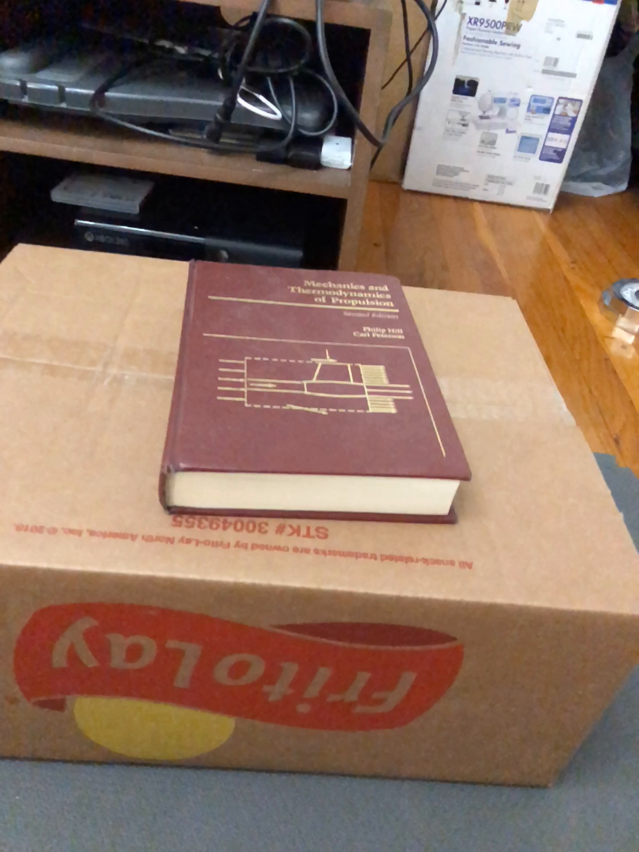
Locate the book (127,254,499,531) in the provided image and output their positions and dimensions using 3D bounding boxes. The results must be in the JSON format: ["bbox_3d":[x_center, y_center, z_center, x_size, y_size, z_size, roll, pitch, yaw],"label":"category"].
[{"bbox_3d":[-0.010,-0.036,0.463,0.190,0.040,0.241,3,38,-7],"label":"book"}]
